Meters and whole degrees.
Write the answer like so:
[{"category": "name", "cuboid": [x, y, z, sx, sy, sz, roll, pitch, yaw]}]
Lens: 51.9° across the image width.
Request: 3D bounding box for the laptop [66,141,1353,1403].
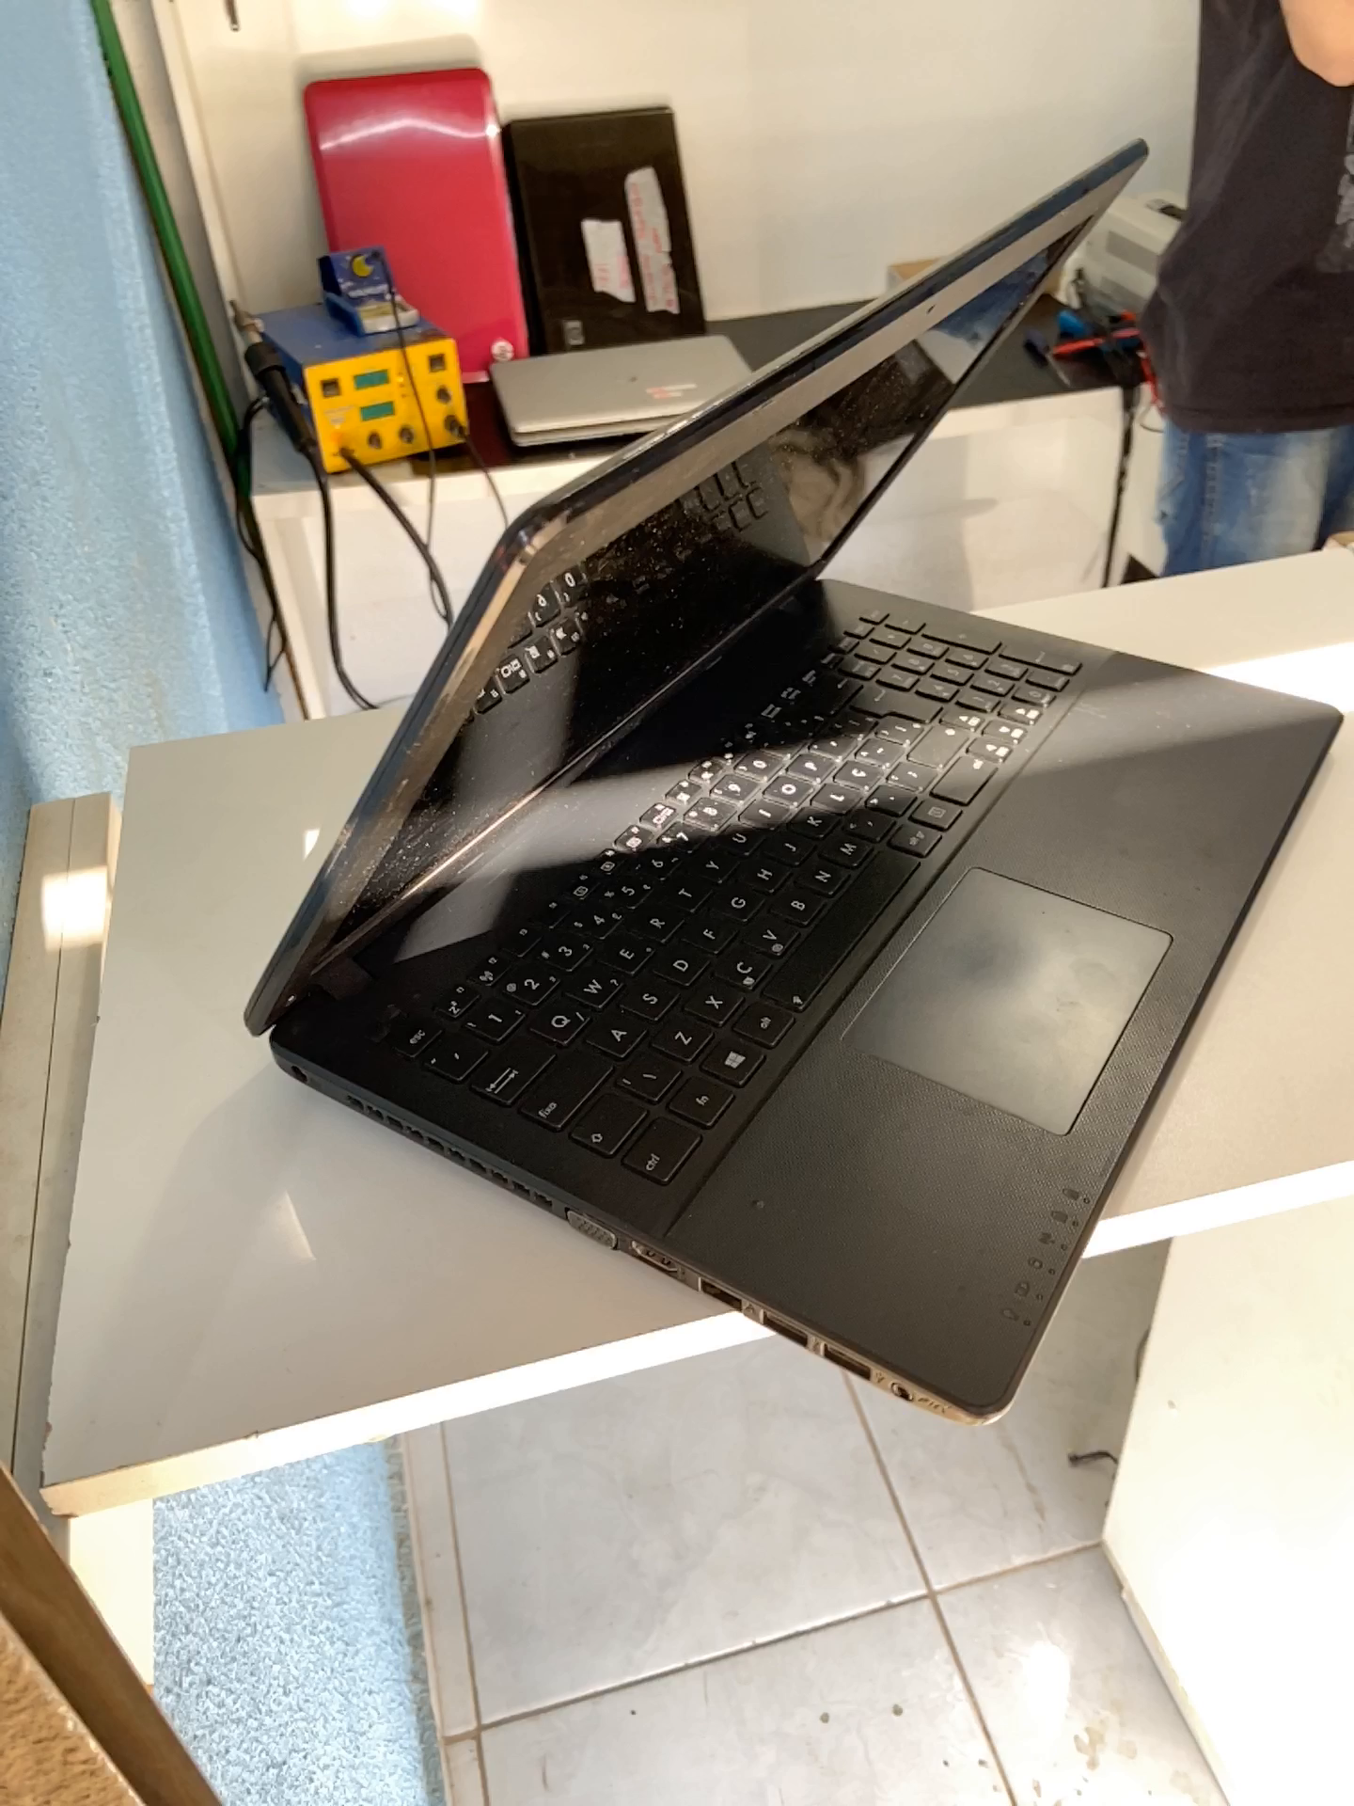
[{"category": "laptop", "cuboid": [0.067, -0.094, 0.452, 0.239, 0.190, 0.375, 21, 44, 27]}]
